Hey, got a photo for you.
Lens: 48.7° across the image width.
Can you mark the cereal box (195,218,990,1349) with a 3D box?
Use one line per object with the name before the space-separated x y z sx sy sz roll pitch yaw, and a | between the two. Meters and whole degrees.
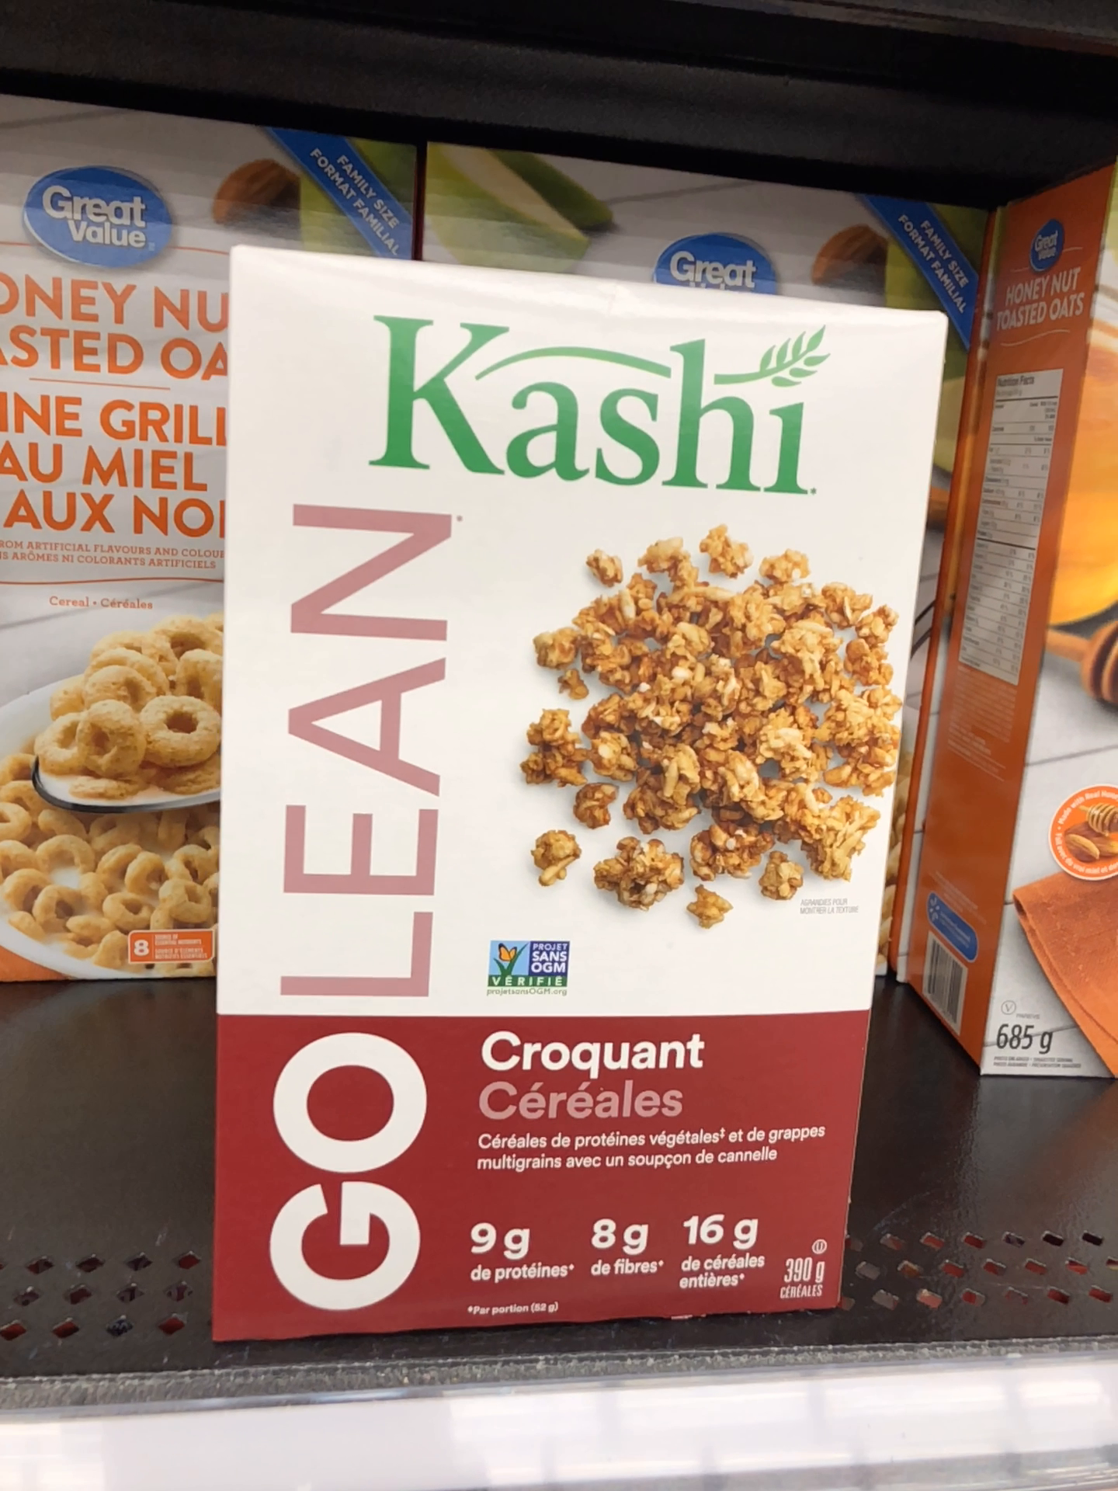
cereal box | 0.000 0.017 0.312 0.170 0.259 0.050 2 13 -10
